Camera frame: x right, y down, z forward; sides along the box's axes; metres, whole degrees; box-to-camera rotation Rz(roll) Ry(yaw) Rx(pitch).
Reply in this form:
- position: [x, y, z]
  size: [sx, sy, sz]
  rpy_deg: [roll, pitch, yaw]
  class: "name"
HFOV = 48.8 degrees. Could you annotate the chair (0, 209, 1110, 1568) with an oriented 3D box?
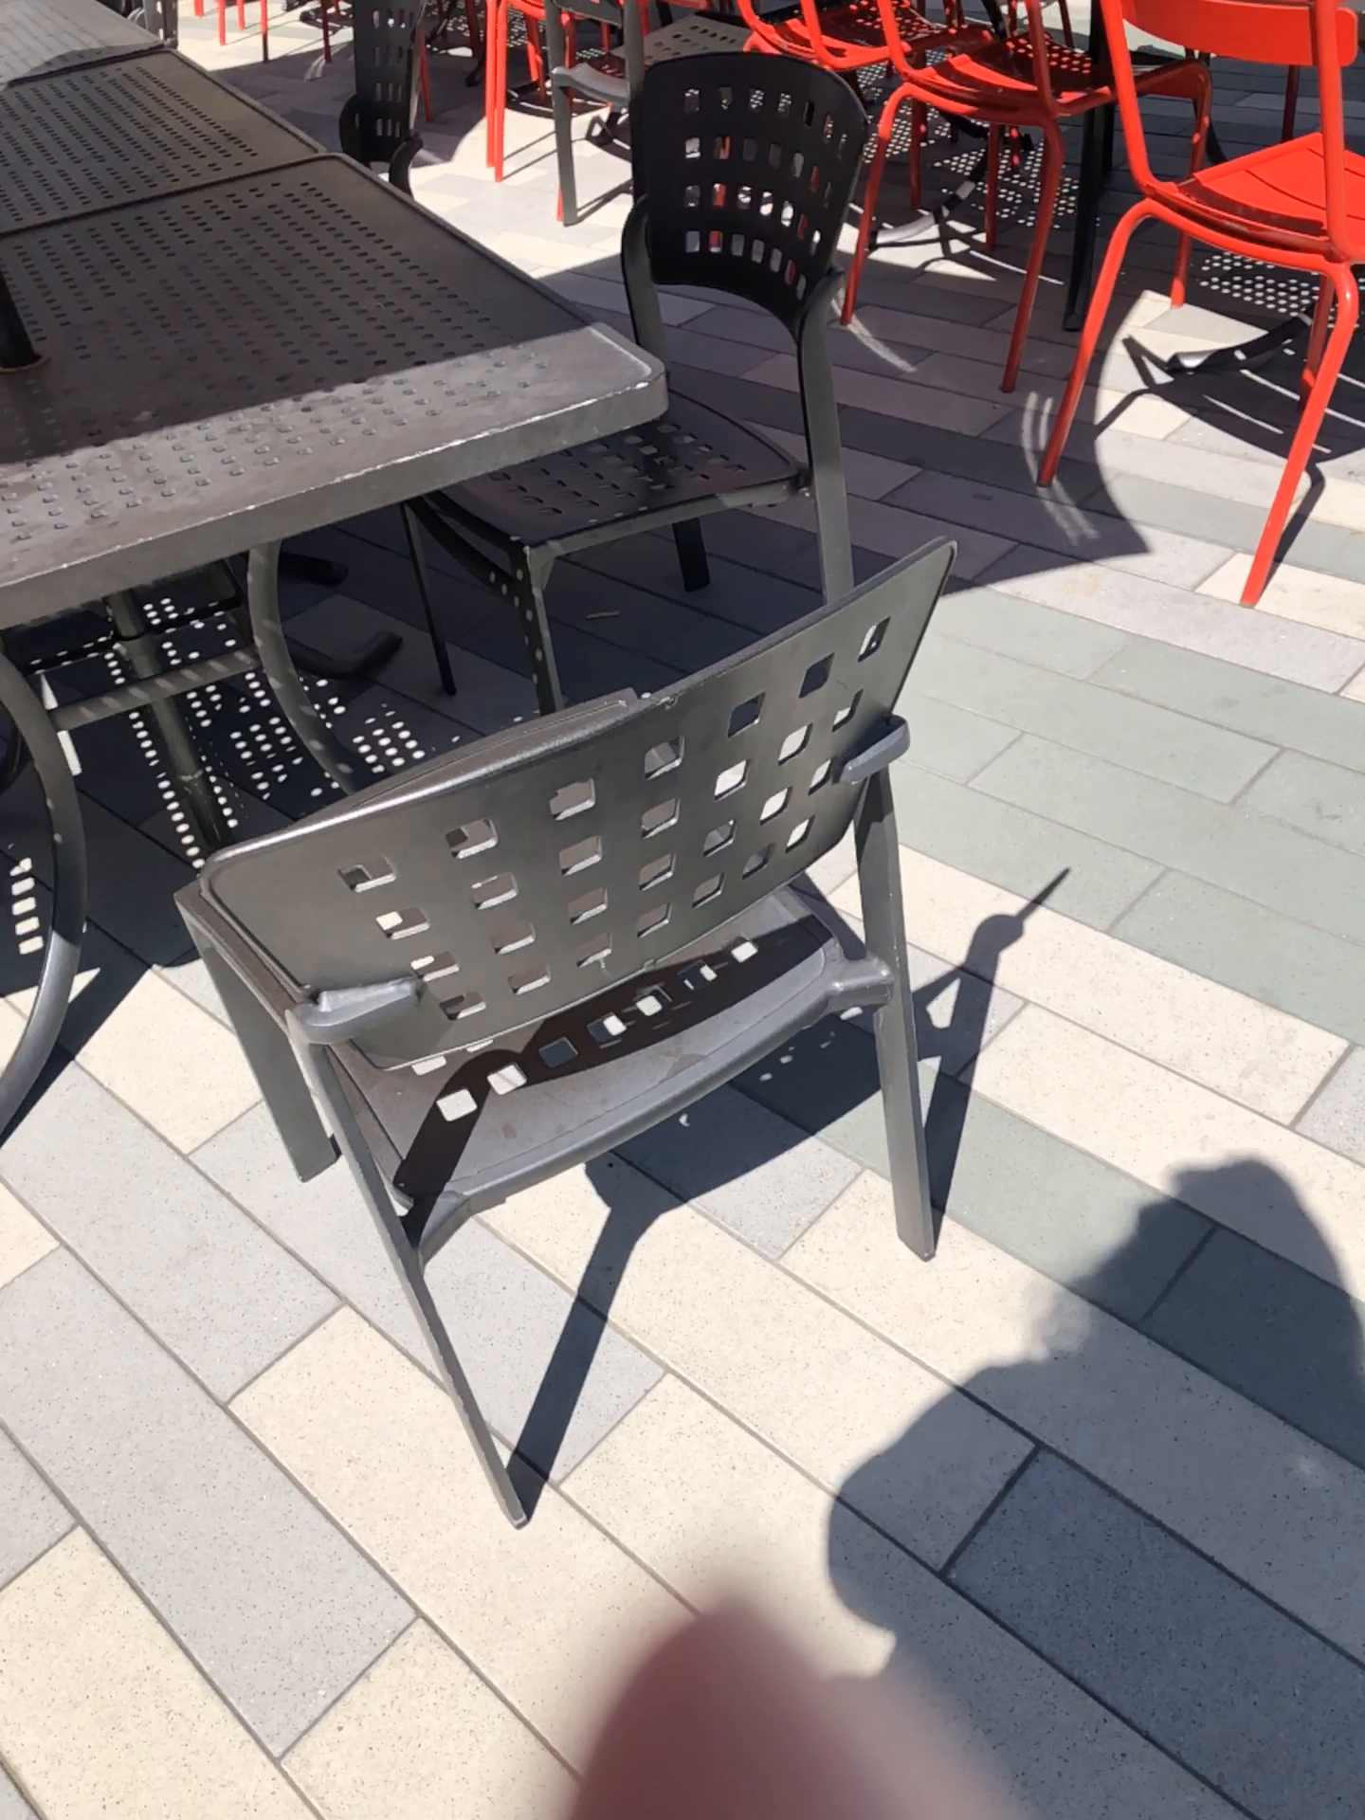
- position: [-0.101, -0.016, 1.174]
  size: [0.520, 0.756, 0.532]
  rpy_deg: [-28, 49, -22]
  class: "chair"
